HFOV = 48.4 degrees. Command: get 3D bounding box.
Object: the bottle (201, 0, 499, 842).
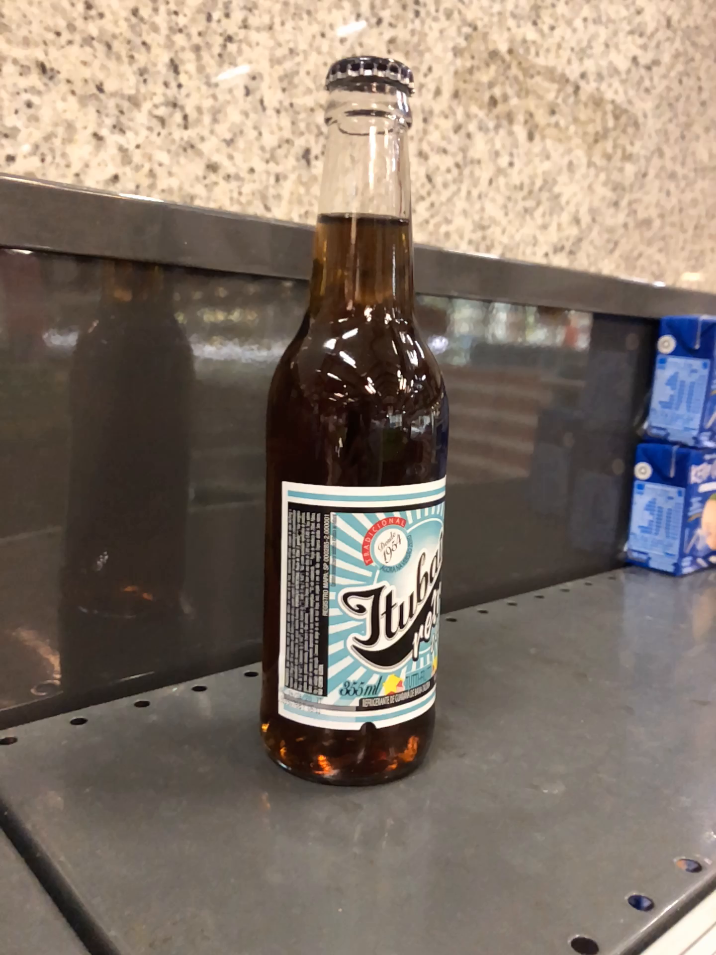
[{"bbox_3d":[-0.004,-0.015,0.265,0.050,0.239,0.070,11,12,35],"label":"bottle"}]
